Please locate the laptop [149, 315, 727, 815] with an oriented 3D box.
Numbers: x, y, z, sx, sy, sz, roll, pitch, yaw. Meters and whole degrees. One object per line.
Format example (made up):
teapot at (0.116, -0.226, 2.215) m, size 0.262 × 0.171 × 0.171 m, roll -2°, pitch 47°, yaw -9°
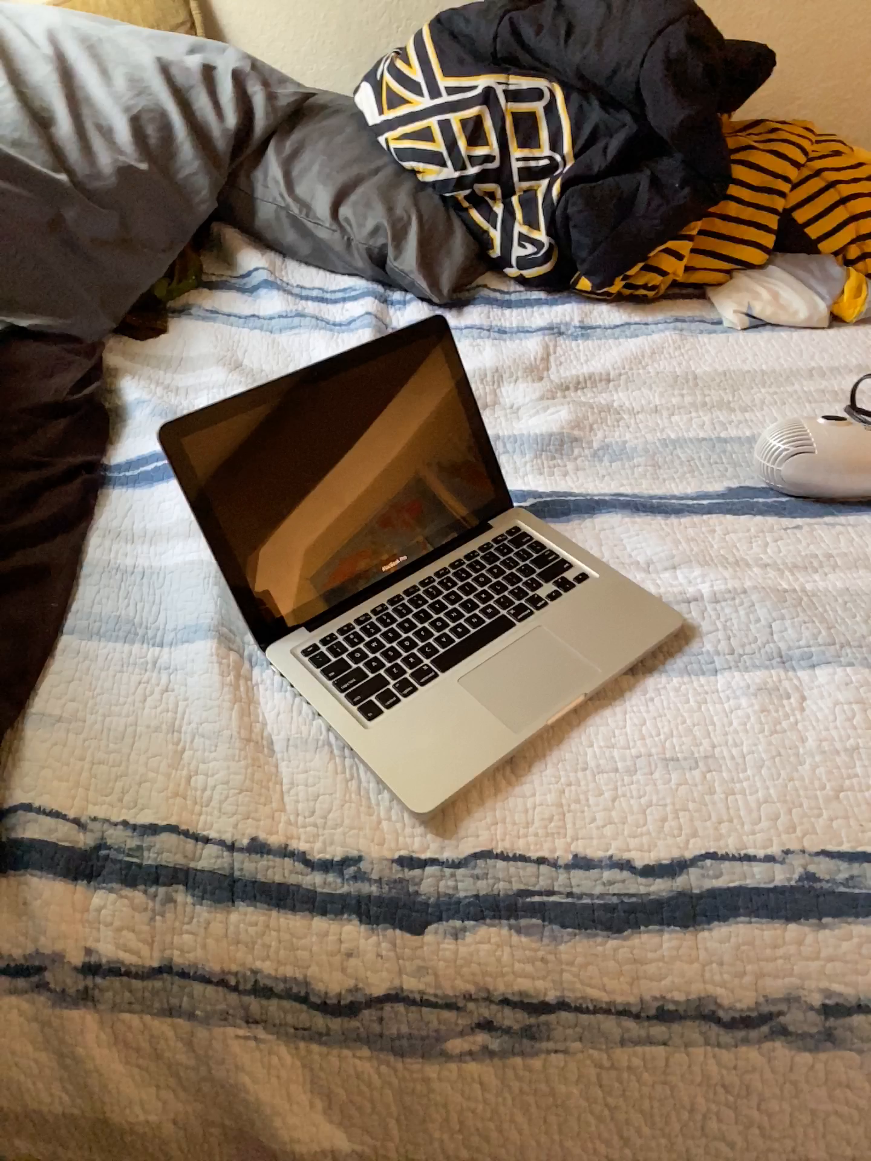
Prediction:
laptop at (-0.003, -0.045, 0.780) m, size 0.321 × 0.165 × 0.346 m, roll -31°, pitch 52°, yaw -29°
